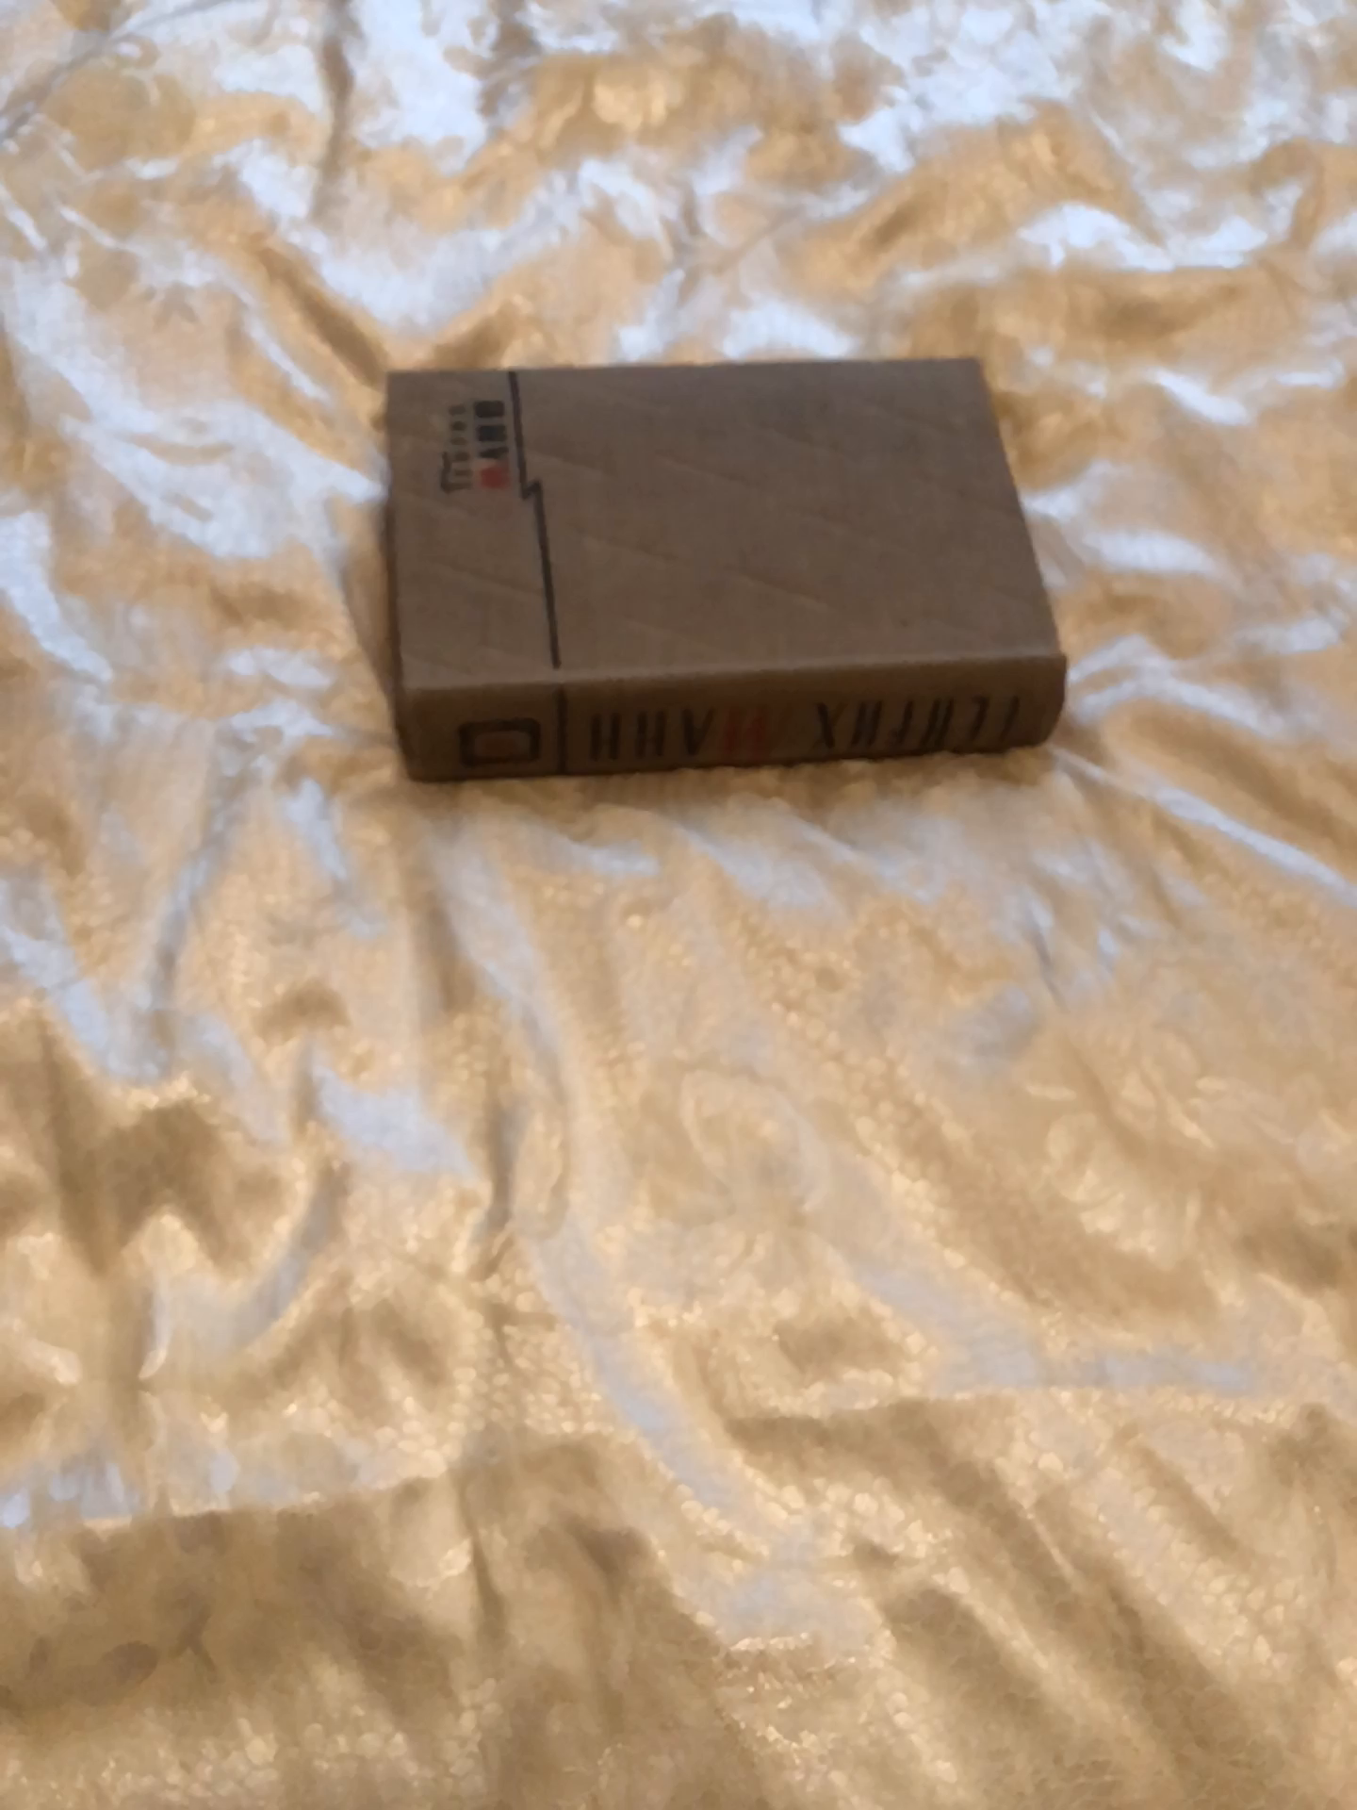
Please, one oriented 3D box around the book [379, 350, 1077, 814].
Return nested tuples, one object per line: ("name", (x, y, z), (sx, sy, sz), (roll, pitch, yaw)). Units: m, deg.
("book", (0.010, -0.111, 0.505), (0.208, 0.051, 0.142), (-4, 64, -6))
